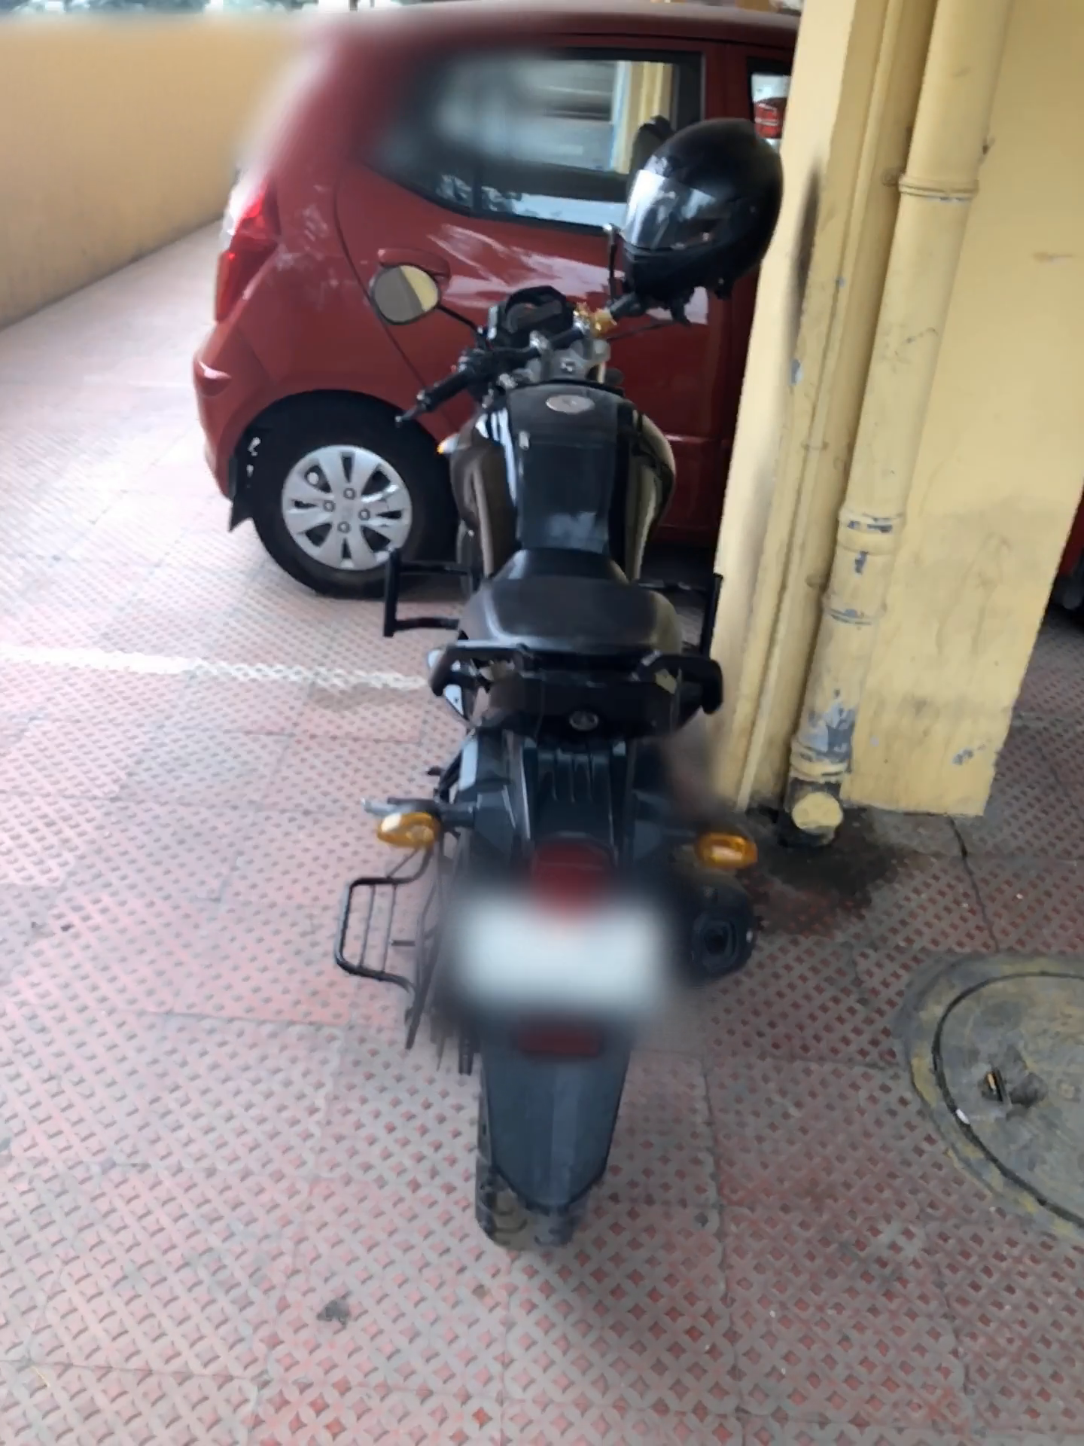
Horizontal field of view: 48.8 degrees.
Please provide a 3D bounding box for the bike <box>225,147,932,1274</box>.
[{"bbox_3d":[-0.109,-0.242,2.041,0.609,1.052,1.809,0,33,-8],"label":"bike"}]
